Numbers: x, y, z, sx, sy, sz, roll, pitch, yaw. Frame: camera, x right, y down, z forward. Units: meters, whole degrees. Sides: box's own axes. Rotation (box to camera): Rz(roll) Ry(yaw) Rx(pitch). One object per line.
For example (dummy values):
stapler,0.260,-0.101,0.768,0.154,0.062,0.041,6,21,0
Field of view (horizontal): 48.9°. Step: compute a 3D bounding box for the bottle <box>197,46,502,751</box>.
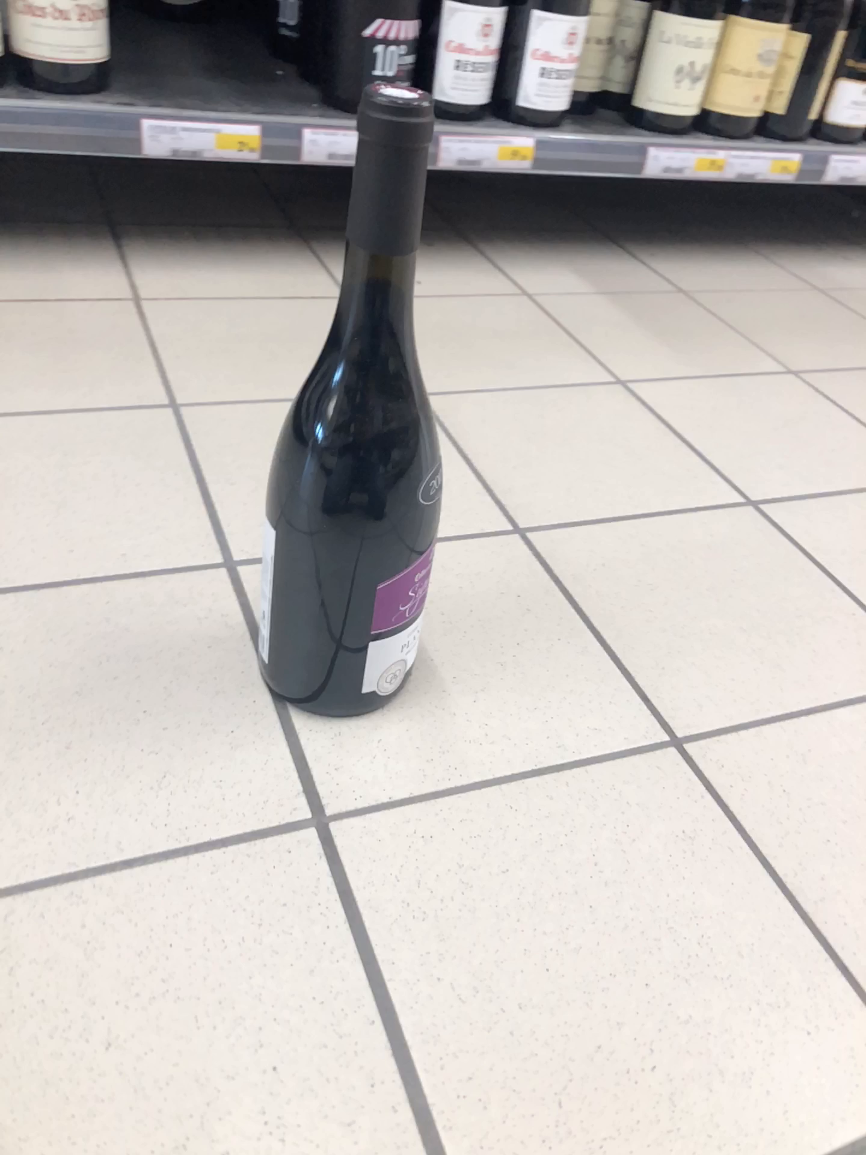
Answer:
bottle,-0.045,-0.064,0.430,0.090,0.288,0.091,7,36,-5
